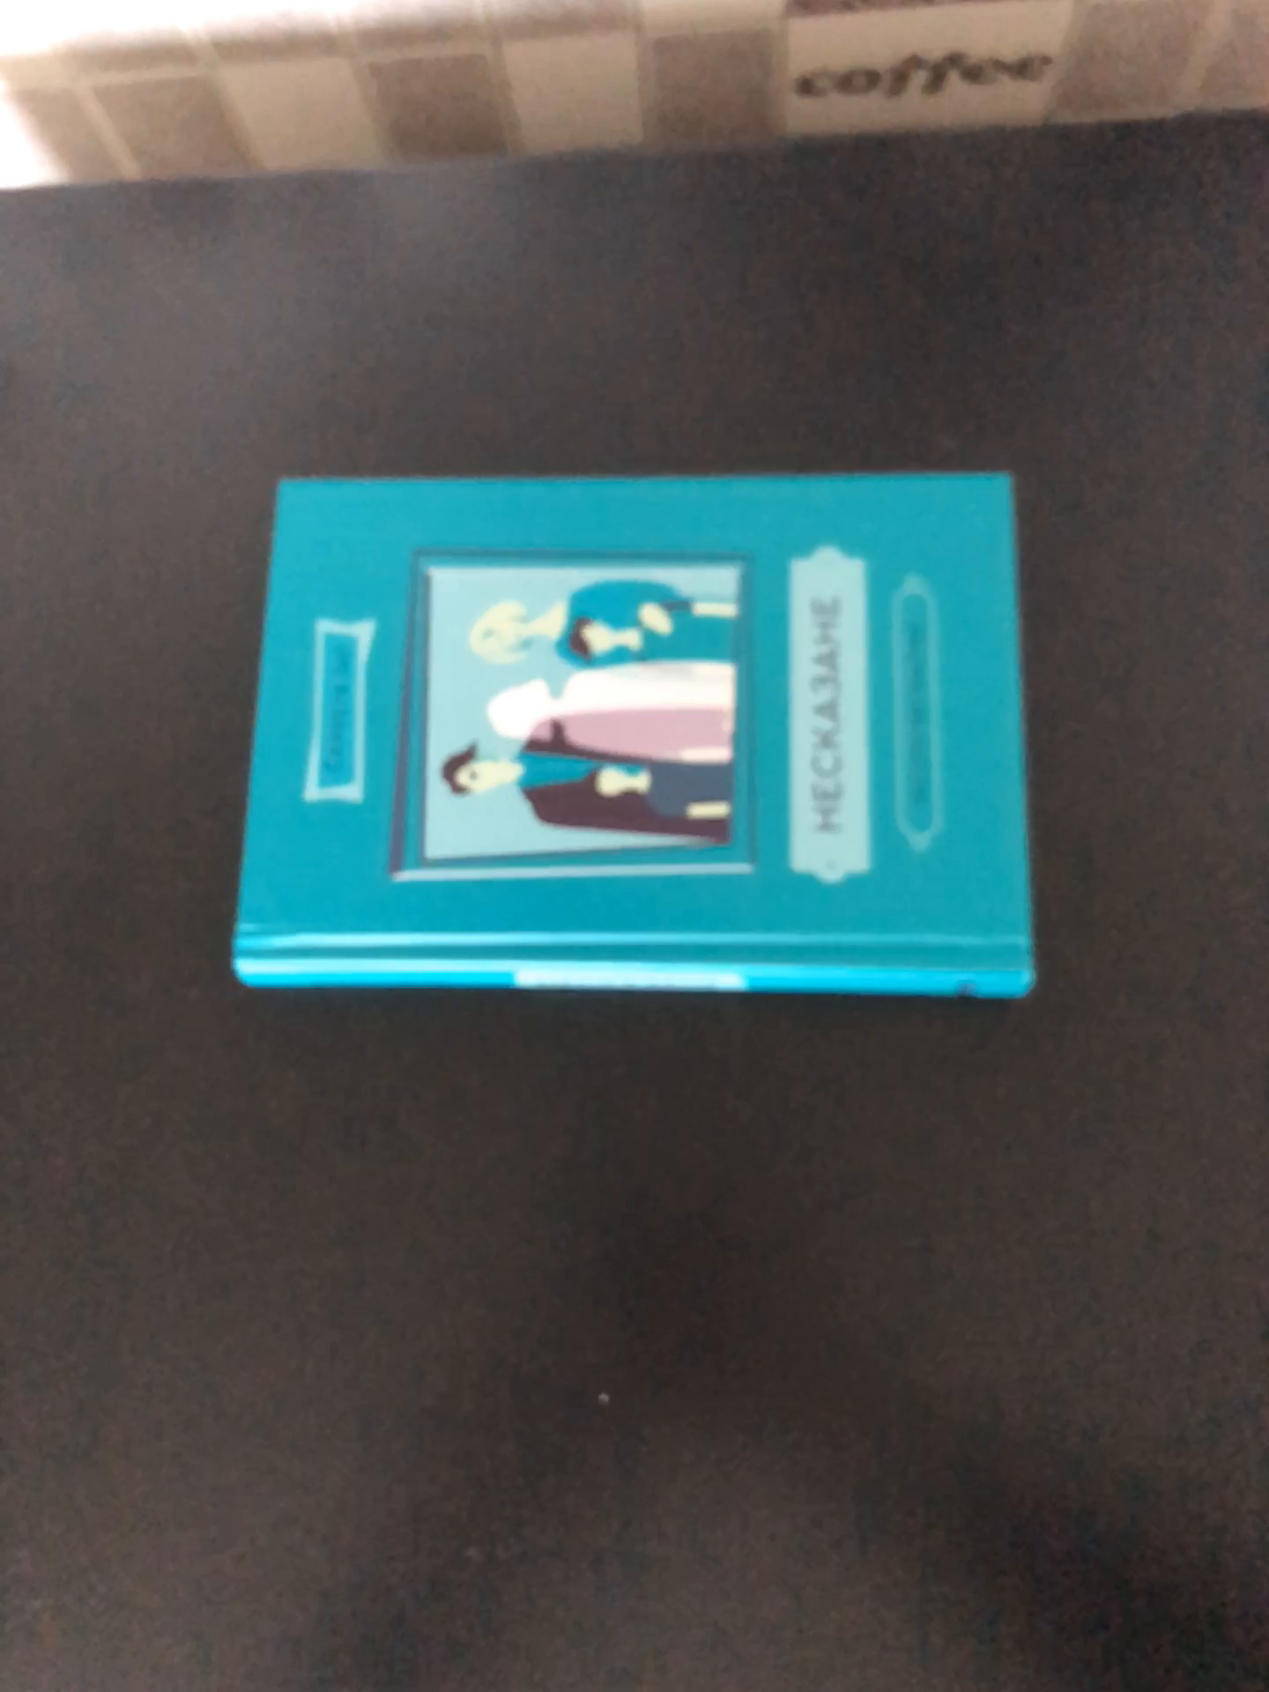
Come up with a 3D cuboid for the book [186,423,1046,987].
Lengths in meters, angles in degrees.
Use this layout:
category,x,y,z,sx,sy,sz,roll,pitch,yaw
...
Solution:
category,x,y,z,sx,sy,sz,roll,pitch,yaw
book,-0.004,-0.040,0.396,0.220,0.030,0.151,0,76,4
